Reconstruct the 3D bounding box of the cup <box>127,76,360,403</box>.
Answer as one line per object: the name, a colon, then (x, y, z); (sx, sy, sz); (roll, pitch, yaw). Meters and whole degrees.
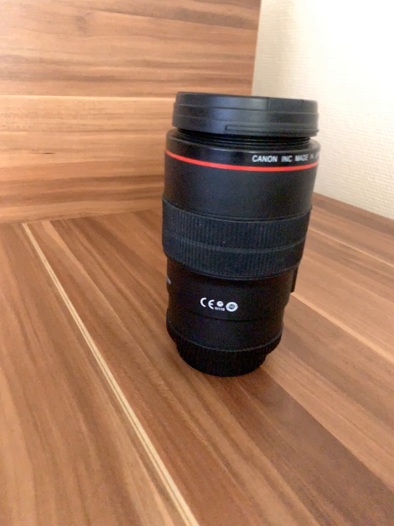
cup: (0.017, -0.019, 0.215); (0.080, 0.139, 0.070); (24, 32, 38)
